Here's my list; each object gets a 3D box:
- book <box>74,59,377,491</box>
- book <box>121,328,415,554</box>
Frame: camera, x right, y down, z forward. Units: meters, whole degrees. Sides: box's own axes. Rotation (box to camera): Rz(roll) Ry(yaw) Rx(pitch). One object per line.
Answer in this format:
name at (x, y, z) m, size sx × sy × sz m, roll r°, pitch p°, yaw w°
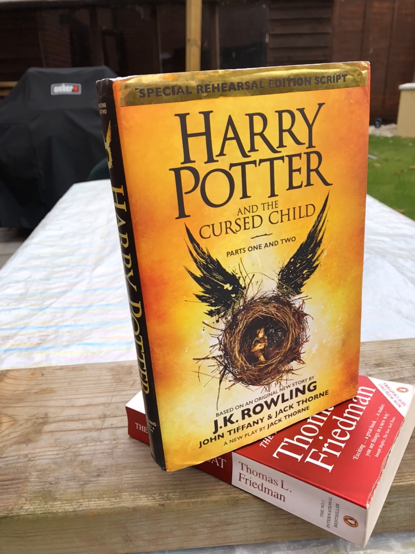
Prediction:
book at (0.023, -0.005, 0.294) m, size 0.170 × 0.239 × 0.040 m, roll -11°, pitch 19°, yaw -22°
book at (0.049, 0.107, 0.360) m, size 0.190 × 0.040 × 0.131 m, roll 11°, pitch 26°, yaw 34°
